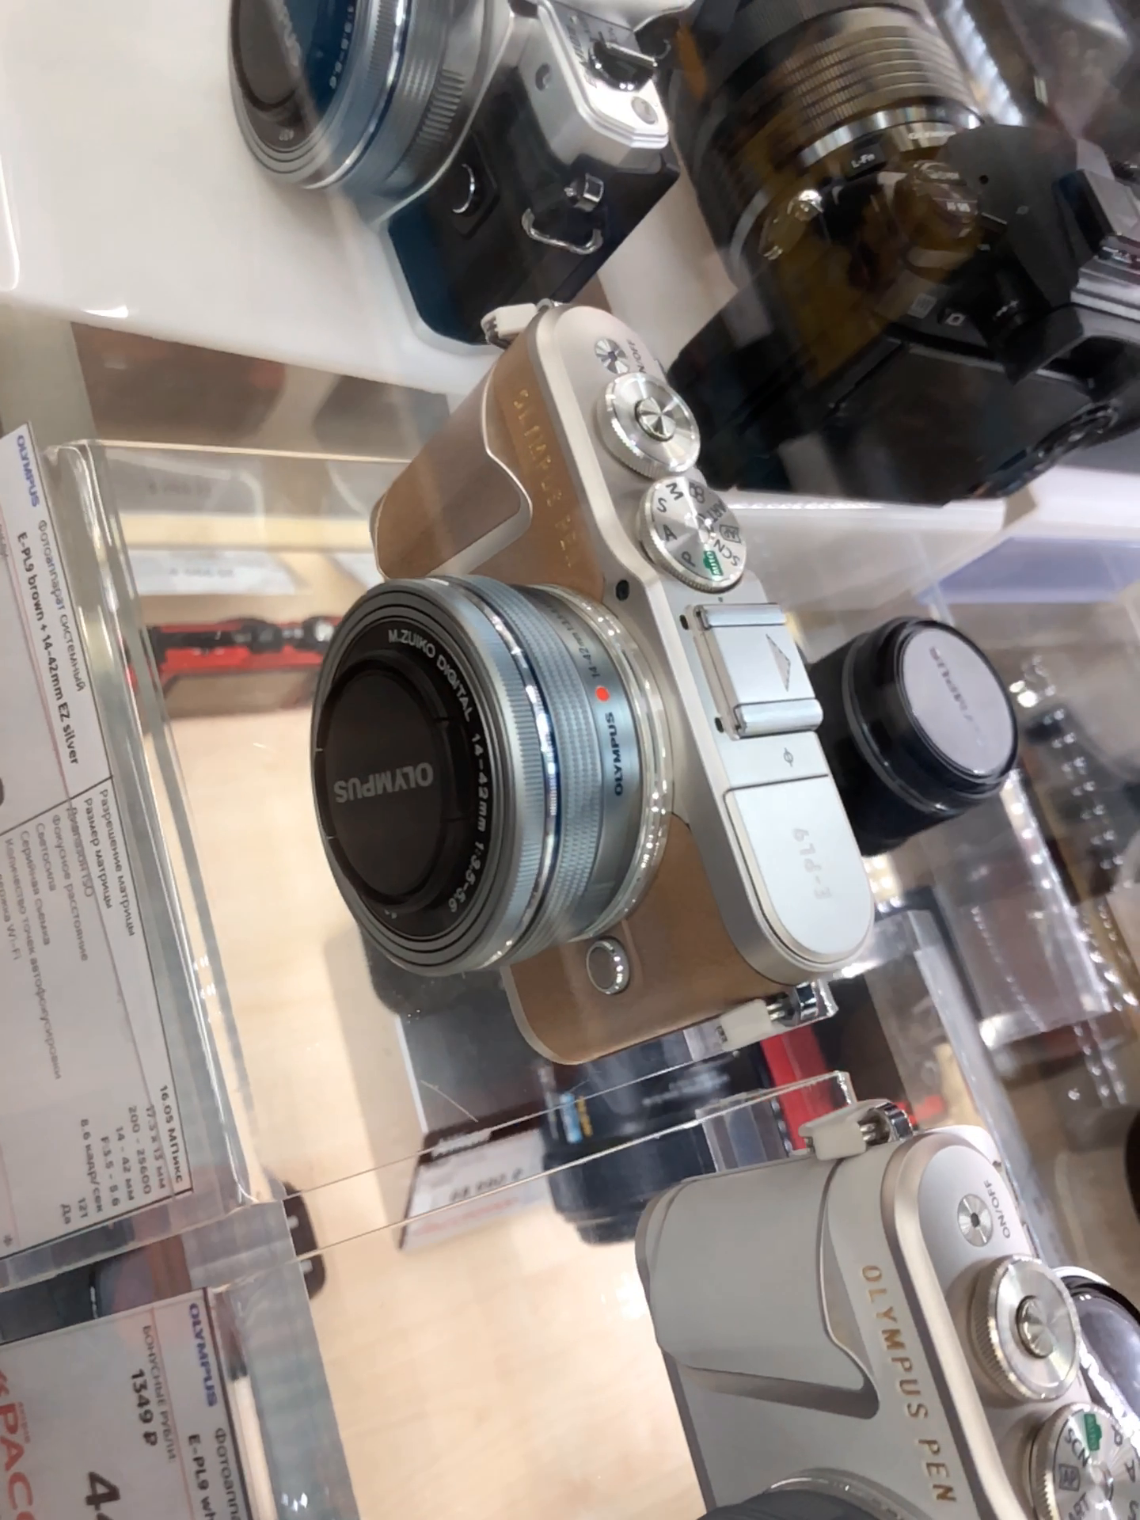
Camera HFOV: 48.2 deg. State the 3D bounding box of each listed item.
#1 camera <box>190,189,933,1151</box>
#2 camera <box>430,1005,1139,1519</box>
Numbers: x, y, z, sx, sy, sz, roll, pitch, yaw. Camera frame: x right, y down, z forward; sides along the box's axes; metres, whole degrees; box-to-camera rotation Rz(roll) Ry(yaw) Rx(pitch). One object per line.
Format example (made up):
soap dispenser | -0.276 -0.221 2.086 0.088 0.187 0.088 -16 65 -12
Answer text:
camera | -0.007 -0.013 0.198 0.060 0.060 0.122 -6 71 -38
camera | 0.038 0.104 0.165 0.060 0.060 0.122 -6 71 -38
